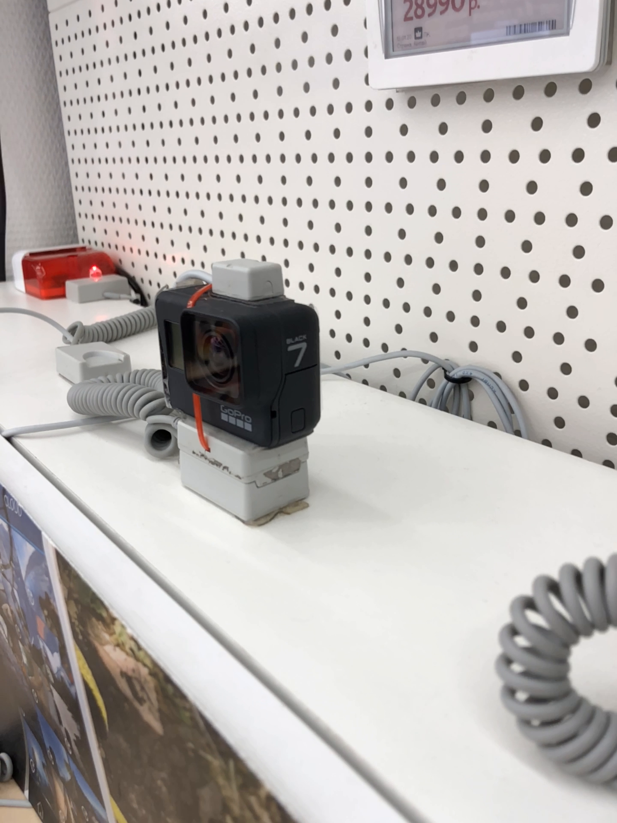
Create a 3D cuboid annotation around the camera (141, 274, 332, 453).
[{"bbox_3d":[-0.026,-0.020,0.234,0.029,0.044,0.067,-18,26,-39],"label":"camera"}]
